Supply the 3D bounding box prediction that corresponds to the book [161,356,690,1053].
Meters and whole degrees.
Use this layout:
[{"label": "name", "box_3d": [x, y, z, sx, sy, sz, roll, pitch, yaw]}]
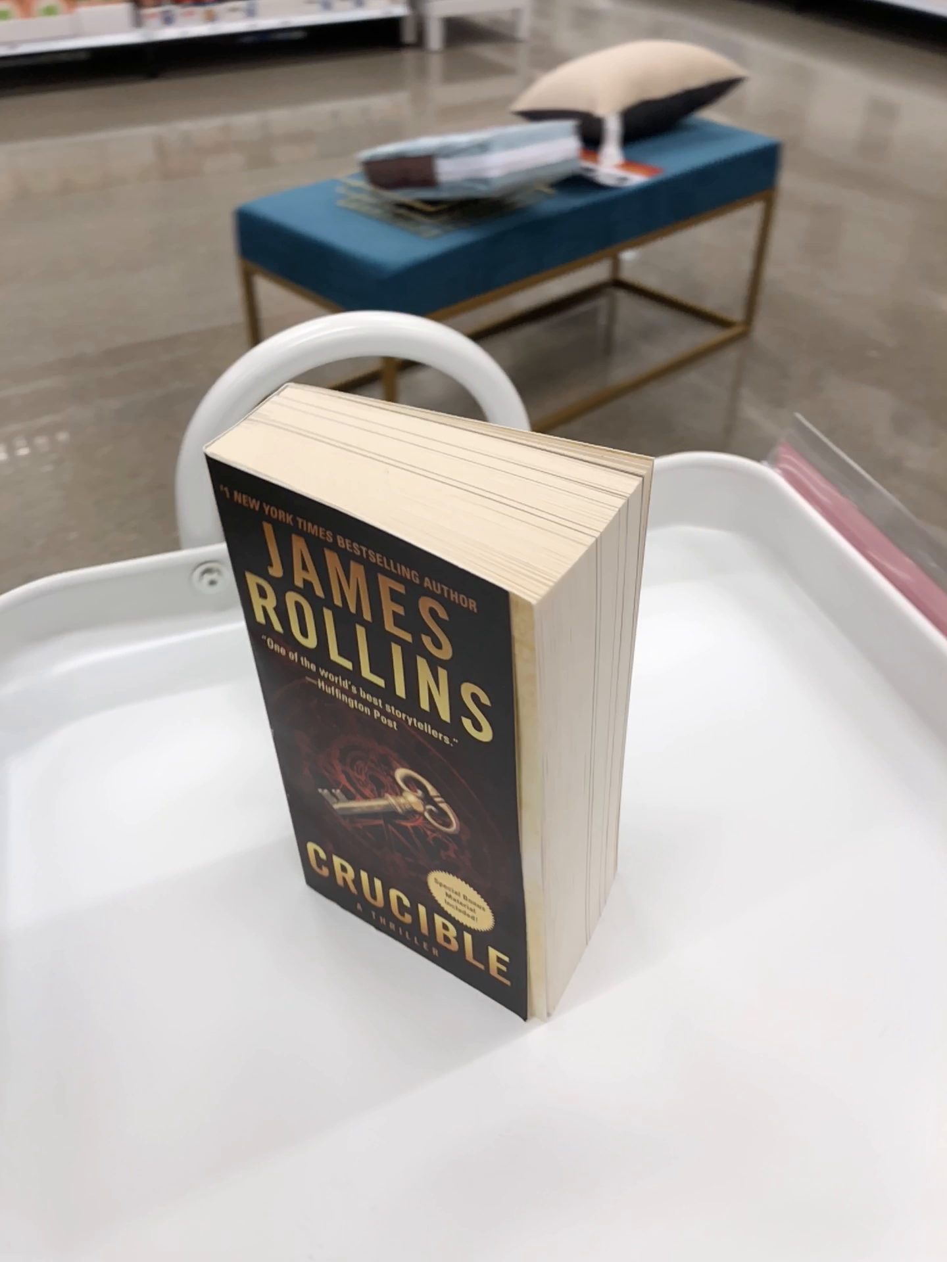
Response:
[{"label": "book", "box_3d": [-0.011, 0.028, 0.320, 0.113, 0.184, 0.066, 21, 46, 24]}]
